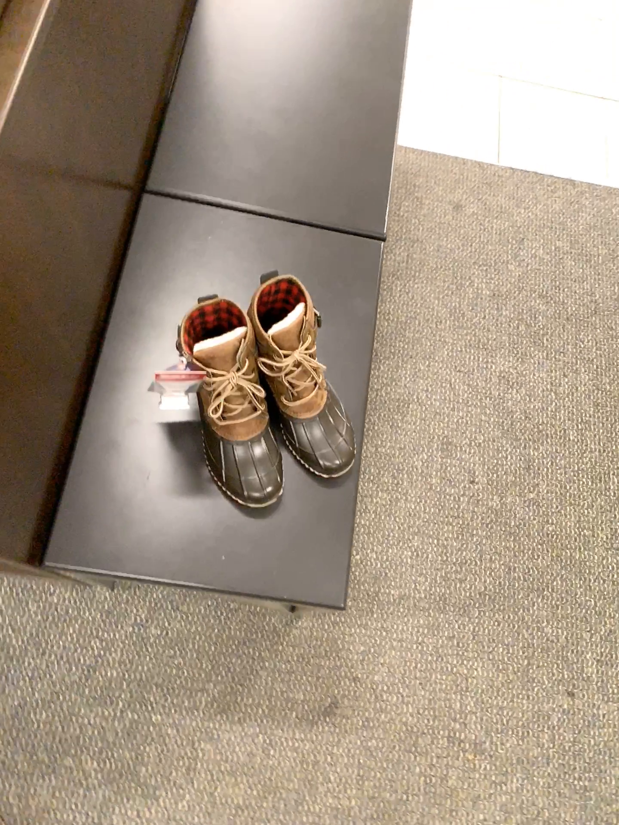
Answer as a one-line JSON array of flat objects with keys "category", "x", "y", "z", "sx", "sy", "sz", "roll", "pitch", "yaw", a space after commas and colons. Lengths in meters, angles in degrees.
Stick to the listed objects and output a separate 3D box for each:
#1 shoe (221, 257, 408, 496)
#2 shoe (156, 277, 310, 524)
[{"category": "shoe", "x": -0.006, "y": -0.039, "z": 0.779, "sx": 0.100, "sy": 0.150, "sz": 0.240, "roll": -29, "pitch": 77, "yaw": -16}, {"category": "shoe", "x": -0.095, "y": -0.009, "z": 0.750, "sx": 0.100, "sy": 0.150, "sz": 0.240, "roll": -16, "pitch": 74, "yaw": -13}]
